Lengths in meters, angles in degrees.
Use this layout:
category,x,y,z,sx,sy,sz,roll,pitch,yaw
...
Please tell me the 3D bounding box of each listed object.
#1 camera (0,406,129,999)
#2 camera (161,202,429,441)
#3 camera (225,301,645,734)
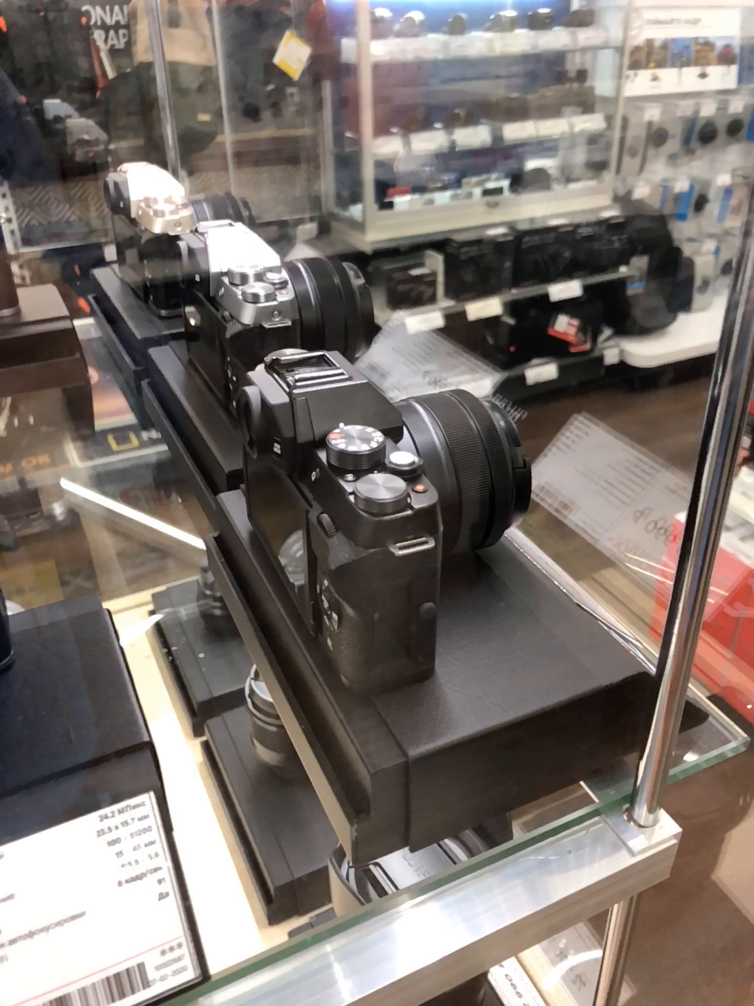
category,x,y,z,sx,sy,sz,roll,pitch,yaw
camera,-0.143,0.037,0.220,0.120,0.069,0.100,-15,34,-23
camera,-0.046,-0.102,0.440,0.099,0.078,0.121,-14,34,-21
camera,0.012,-0.005,0.301,0.095,0.090,0.121,-13,34,-20
